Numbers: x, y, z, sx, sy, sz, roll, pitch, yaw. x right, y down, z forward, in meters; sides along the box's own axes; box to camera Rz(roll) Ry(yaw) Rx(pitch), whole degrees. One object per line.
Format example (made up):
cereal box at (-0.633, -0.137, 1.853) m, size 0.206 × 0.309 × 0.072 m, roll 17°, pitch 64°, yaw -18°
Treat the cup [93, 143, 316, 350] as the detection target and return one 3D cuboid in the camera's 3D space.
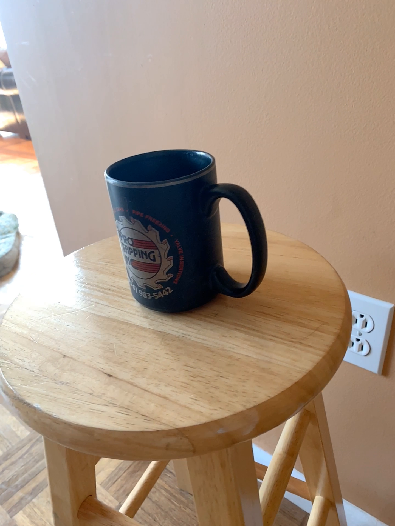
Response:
cup at (0.011, -0.026, 0.352) m, size 0.140 × 0.119 × 0.110 m, roll 14°, pitch 34°, yaw 31°
